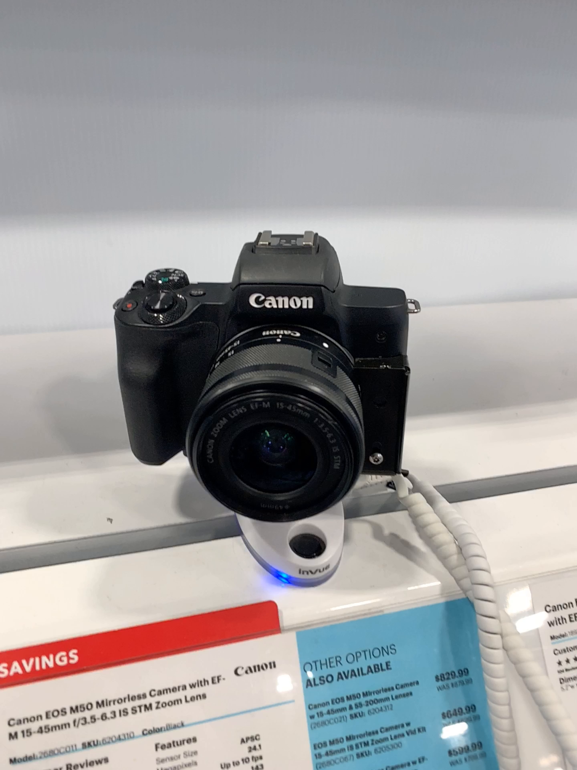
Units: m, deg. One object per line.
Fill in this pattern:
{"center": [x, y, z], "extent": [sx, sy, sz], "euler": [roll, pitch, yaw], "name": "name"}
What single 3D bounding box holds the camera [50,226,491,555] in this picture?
{"center": [-0.006, -0.006, 0.231], "extent": [0.121, 0.080, 0.111], "euler": [1, 29, -1], "name": "camera"}
